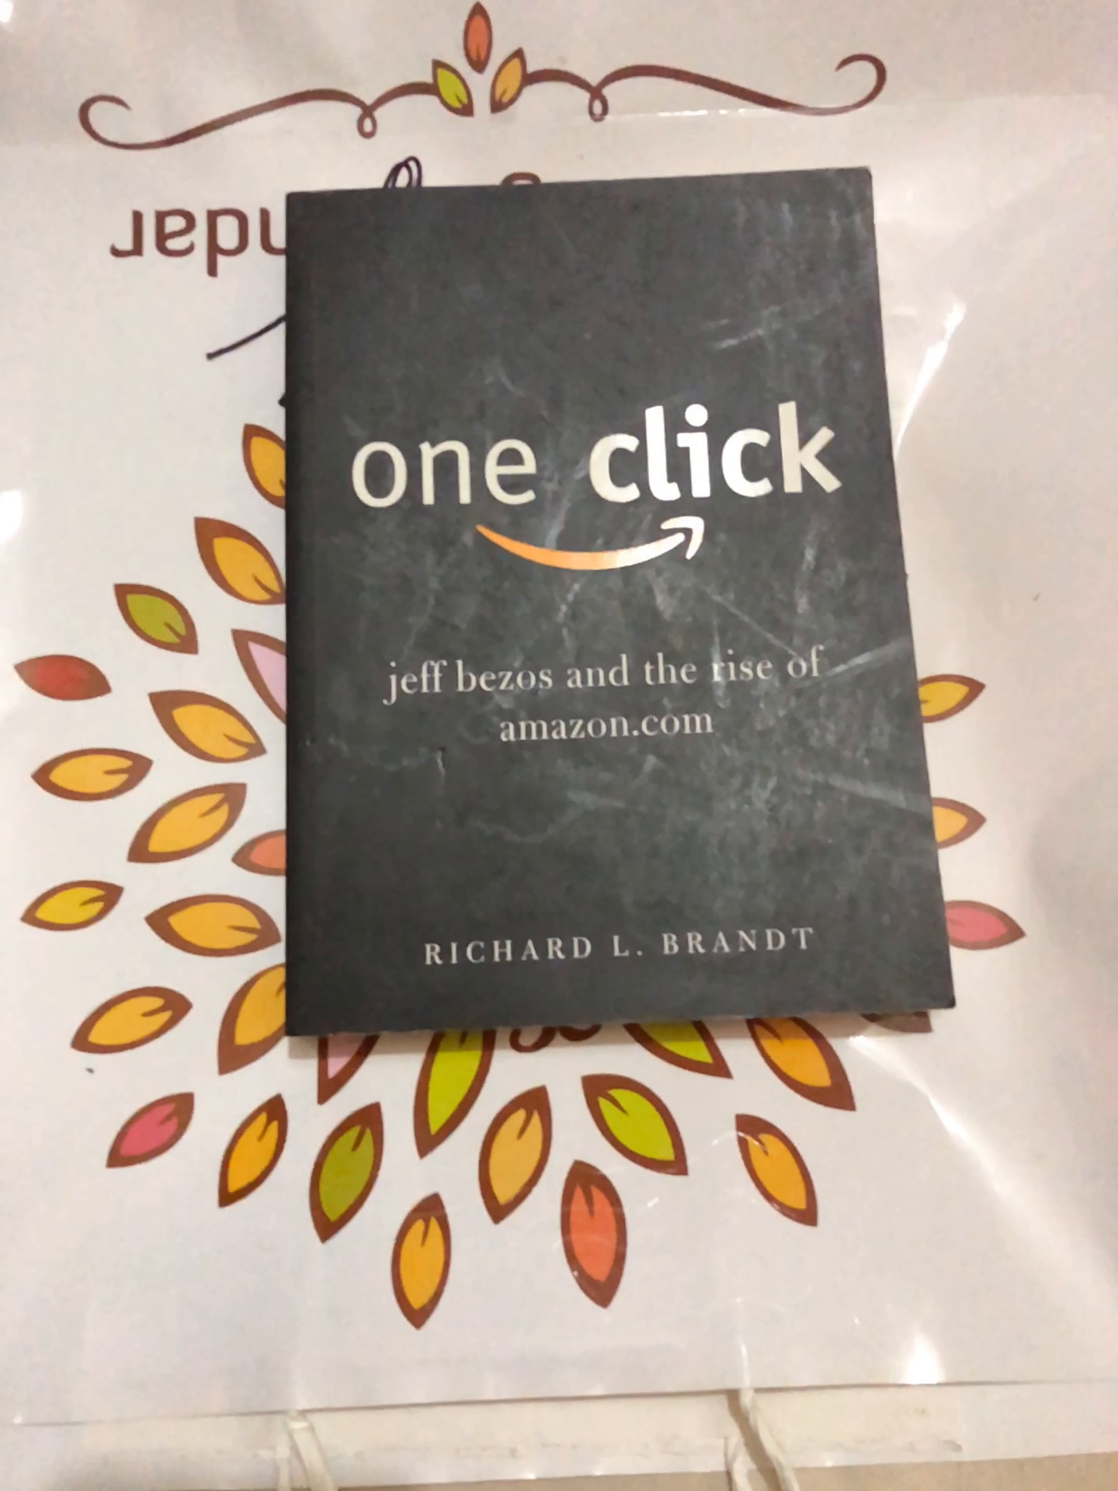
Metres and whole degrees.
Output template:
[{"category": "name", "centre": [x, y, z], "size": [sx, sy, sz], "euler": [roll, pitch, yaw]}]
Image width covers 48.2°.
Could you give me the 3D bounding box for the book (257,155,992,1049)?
[{"category": "book", "centre": [0.011, -0.040, 0.309], "size": [0.160, 0.020, 0.220], "euler": [-2, 76, 3]}]
